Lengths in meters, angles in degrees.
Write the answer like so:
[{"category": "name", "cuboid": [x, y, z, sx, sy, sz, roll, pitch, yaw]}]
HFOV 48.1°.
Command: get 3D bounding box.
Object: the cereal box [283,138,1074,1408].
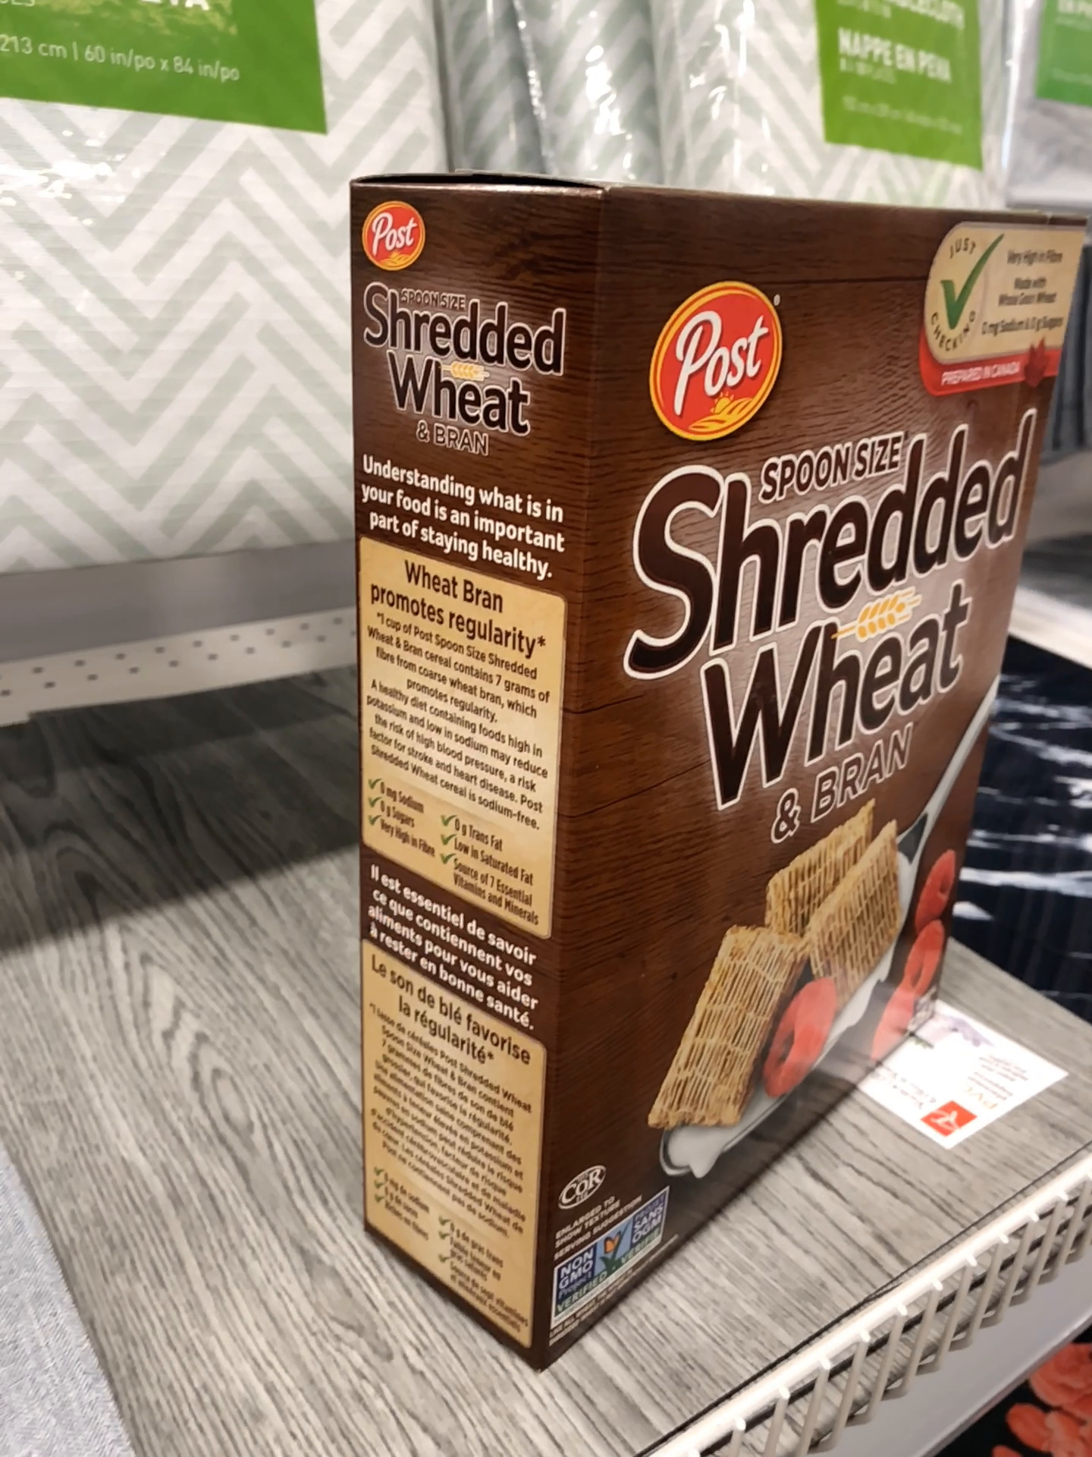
[{"category": "cereal box", "cuboid": [0.036, -0.001, 0.320, 0.070, 0.259, 0.200, 22, 28, 37]}]
